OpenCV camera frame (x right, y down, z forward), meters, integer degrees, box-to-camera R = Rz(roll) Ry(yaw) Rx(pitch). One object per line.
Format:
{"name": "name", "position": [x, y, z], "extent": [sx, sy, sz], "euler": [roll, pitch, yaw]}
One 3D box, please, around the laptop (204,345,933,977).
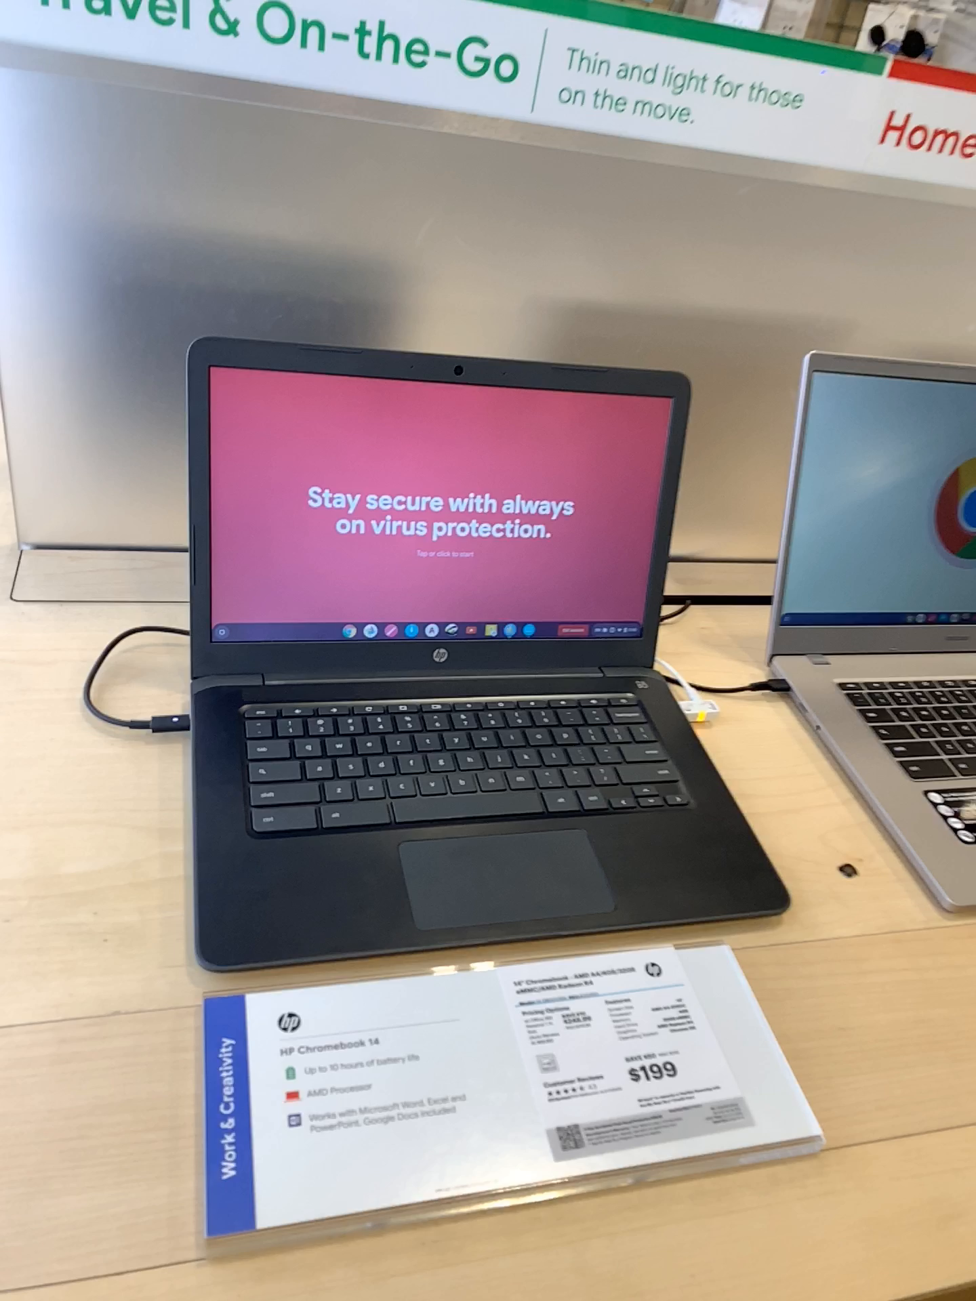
{"name": "laptop", "position": [0.001, -0.017, 0.580], "extent": [0.319, 0.198, 0.293], "euler": [-2, 38, -16]}
